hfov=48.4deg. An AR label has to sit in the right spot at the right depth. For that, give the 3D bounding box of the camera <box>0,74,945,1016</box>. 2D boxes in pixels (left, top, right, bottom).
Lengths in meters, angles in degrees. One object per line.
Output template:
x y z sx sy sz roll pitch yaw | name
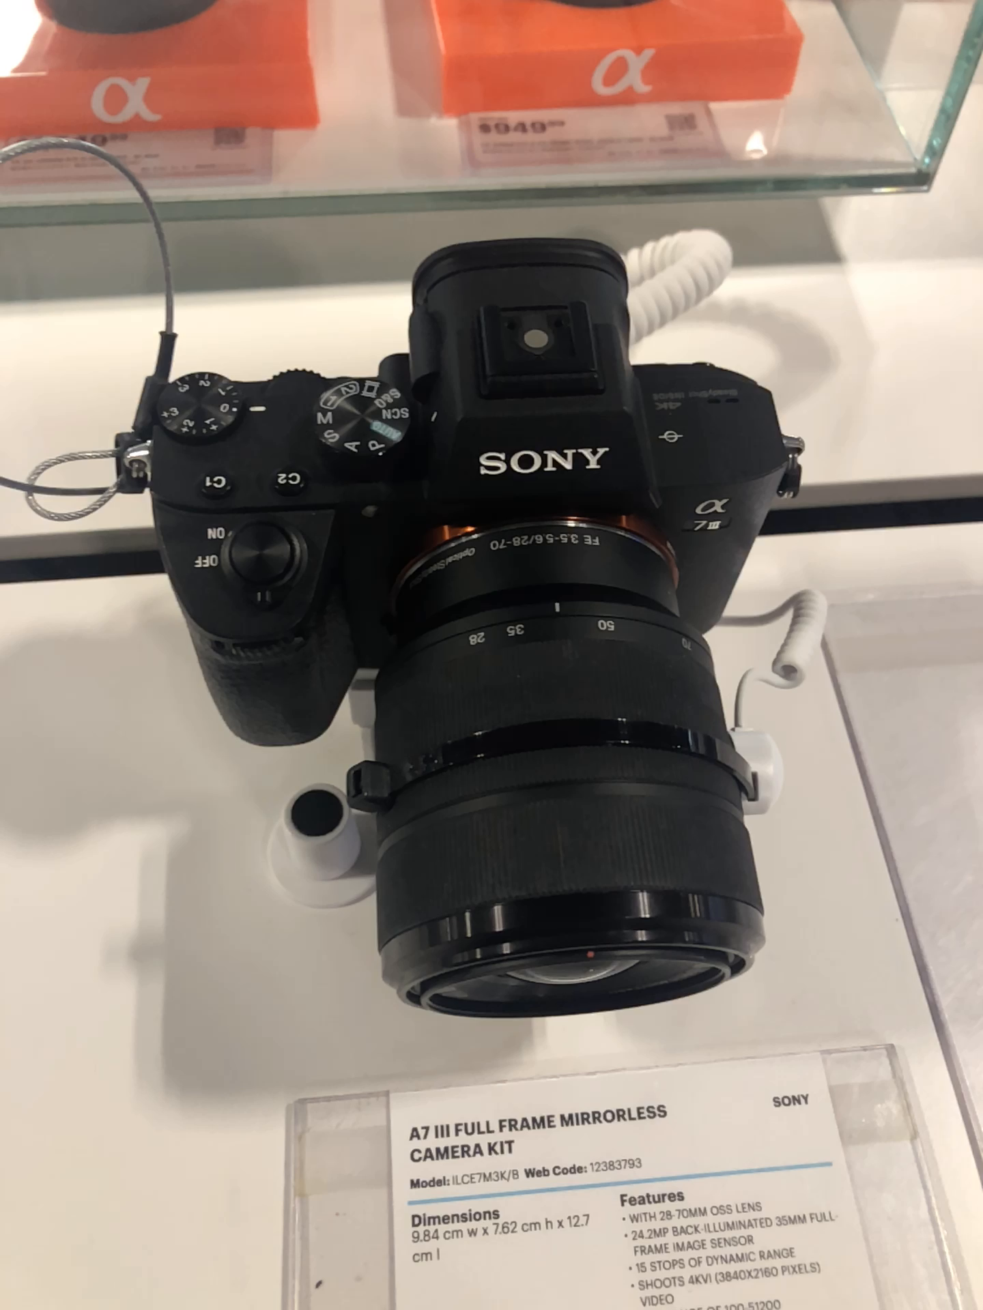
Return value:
-0.014 -0.019 0.201 0.120 0.100 0.130 -5 58 -4 | camera
